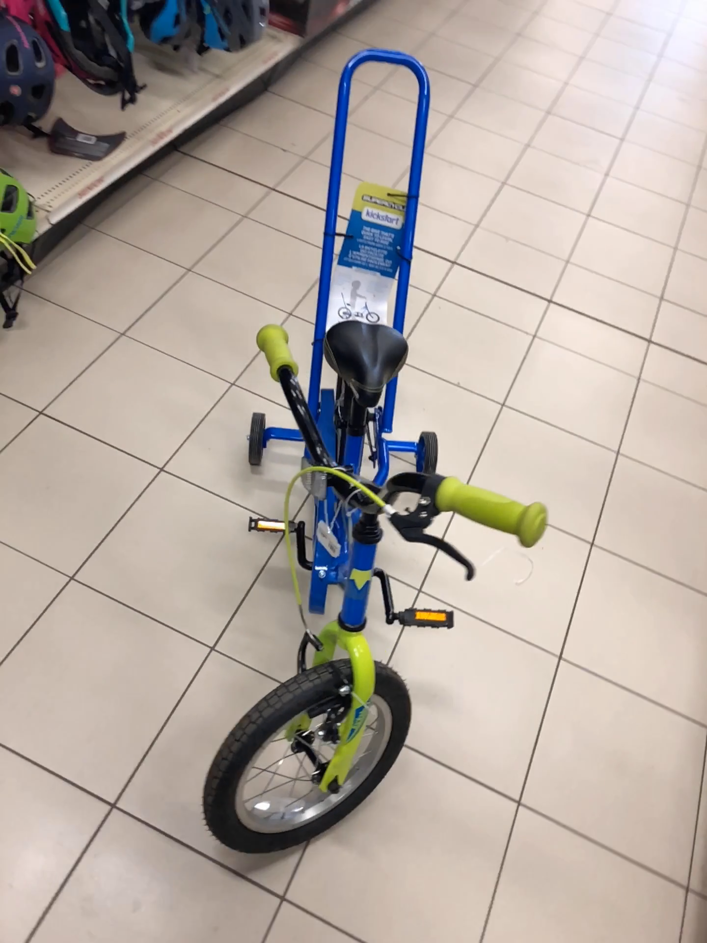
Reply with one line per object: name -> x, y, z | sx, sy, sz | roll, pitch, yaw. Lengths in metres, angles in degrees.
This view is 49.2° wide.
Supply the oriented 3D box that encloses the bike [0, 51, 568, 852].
bike -> -0.091, -0.035, 1.192 | 0.538, 0.763, 0.957 | 15, 49, 0
